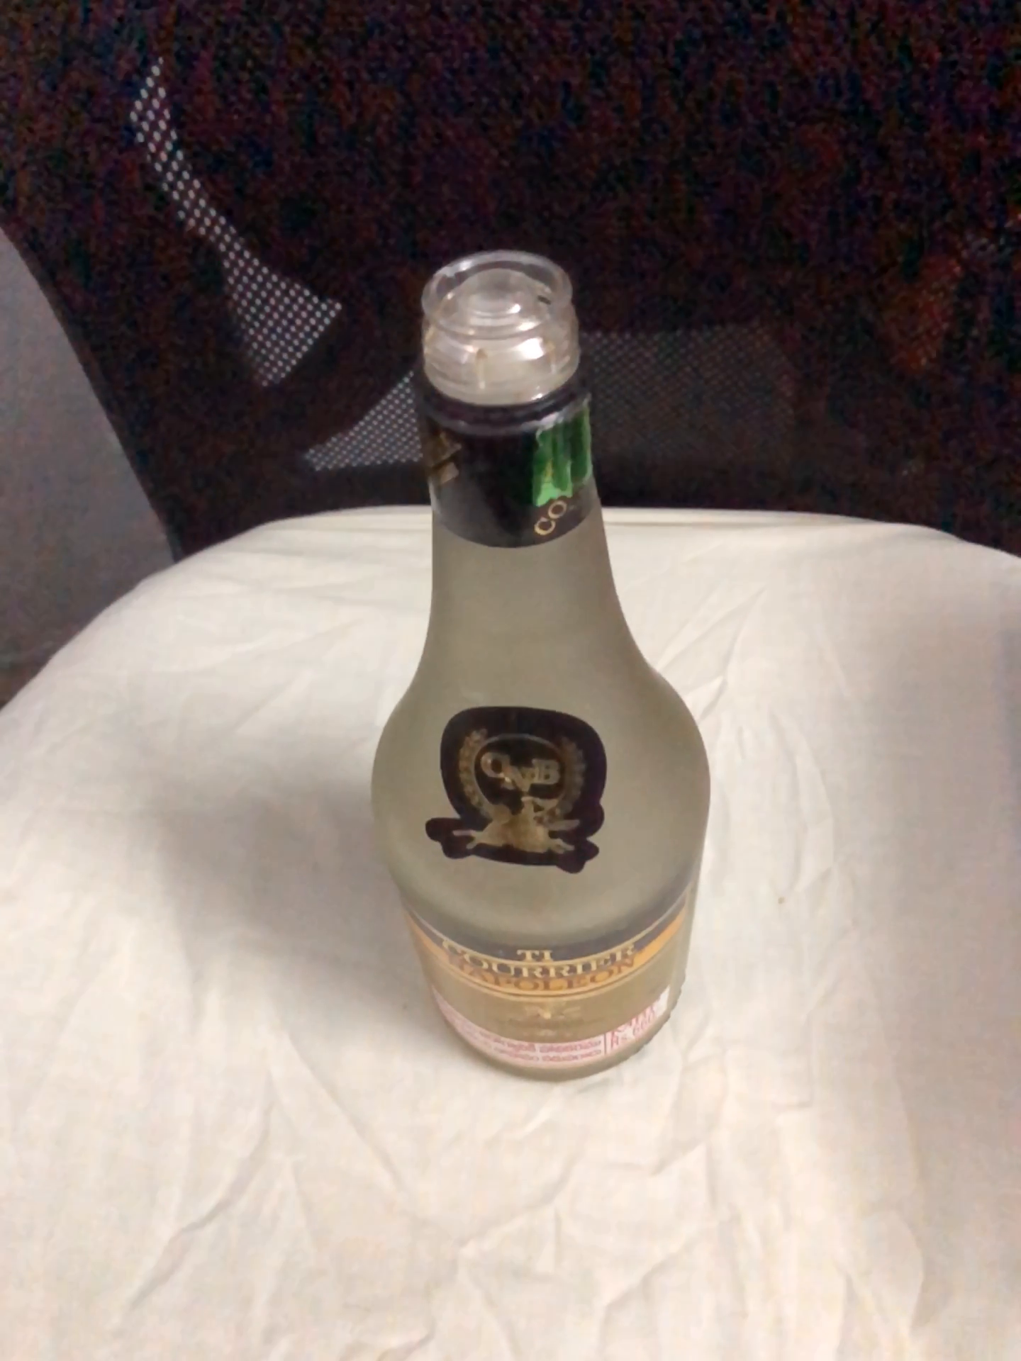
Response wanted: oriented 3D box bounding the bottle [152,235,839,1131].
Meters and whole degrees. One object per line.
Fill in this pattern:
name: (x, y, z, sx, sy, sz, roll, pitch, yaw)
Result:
bottle: (0.004, 0.027, 0.267, 0.090, 0.239, 0.080, 2, 53, 4)
